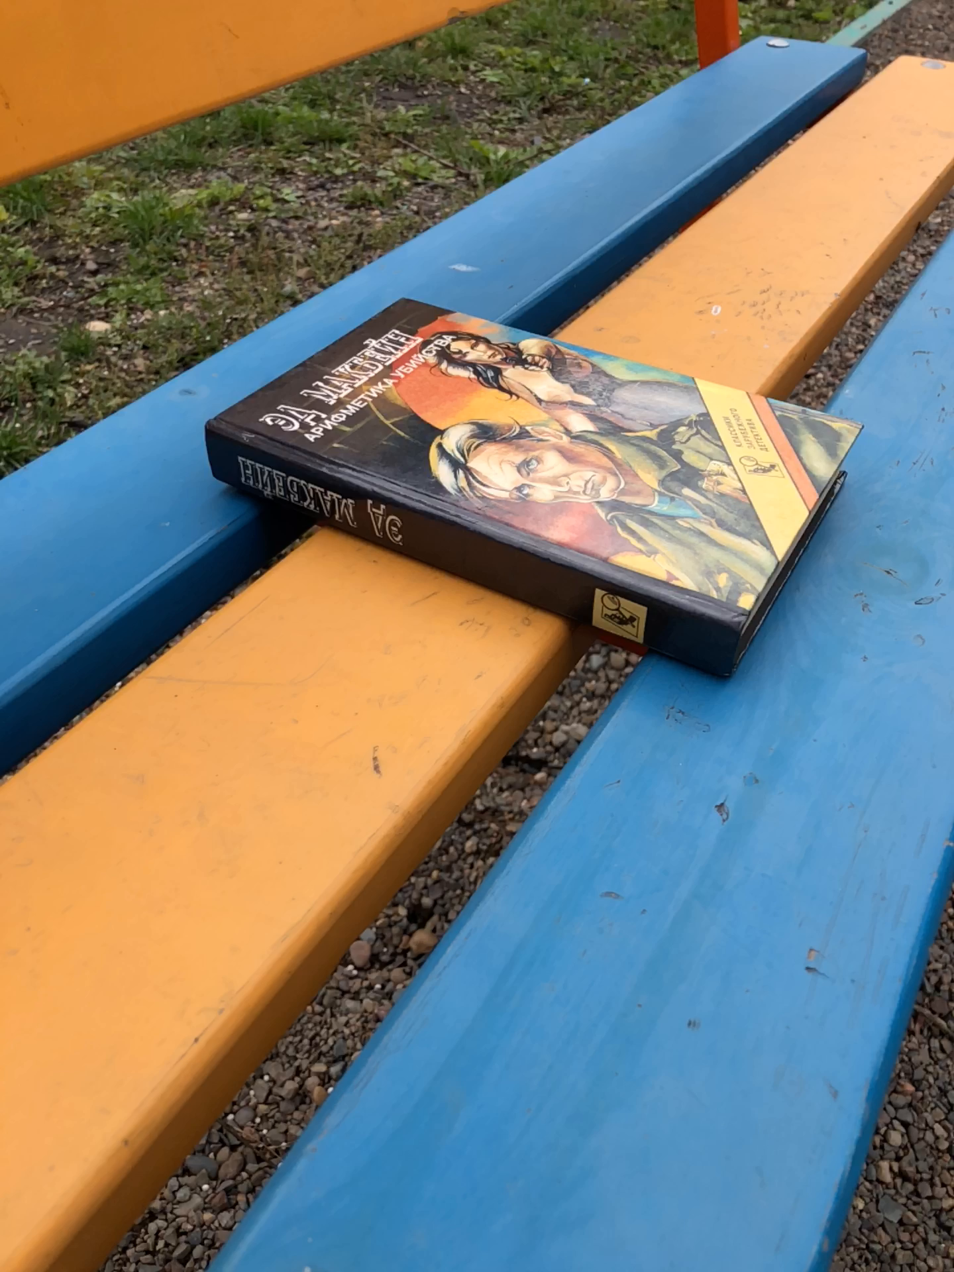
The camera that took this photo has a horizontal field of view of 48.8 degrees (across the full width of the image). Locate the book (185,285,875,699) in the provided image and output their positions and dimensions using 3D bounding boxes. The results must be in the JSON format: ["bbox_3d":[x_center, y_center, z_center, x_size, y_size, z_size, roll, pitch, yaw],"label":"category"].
[{"bbox_3d":[0.021,-0.067,0.389,0.210,0.030,0.136,22,45,20],"label":"book"}]
